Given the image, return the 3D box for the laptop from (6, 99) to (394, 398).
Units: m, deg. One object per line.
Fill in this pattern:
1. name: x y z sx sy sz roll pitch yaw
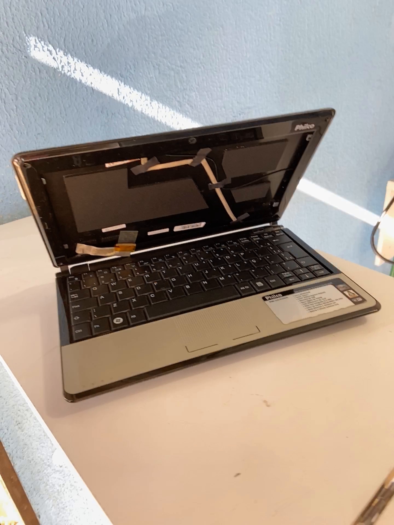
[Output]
1. laptop: -0.001 -0.039 0.368 0.275 0.144 0.177 -13 32 -14
